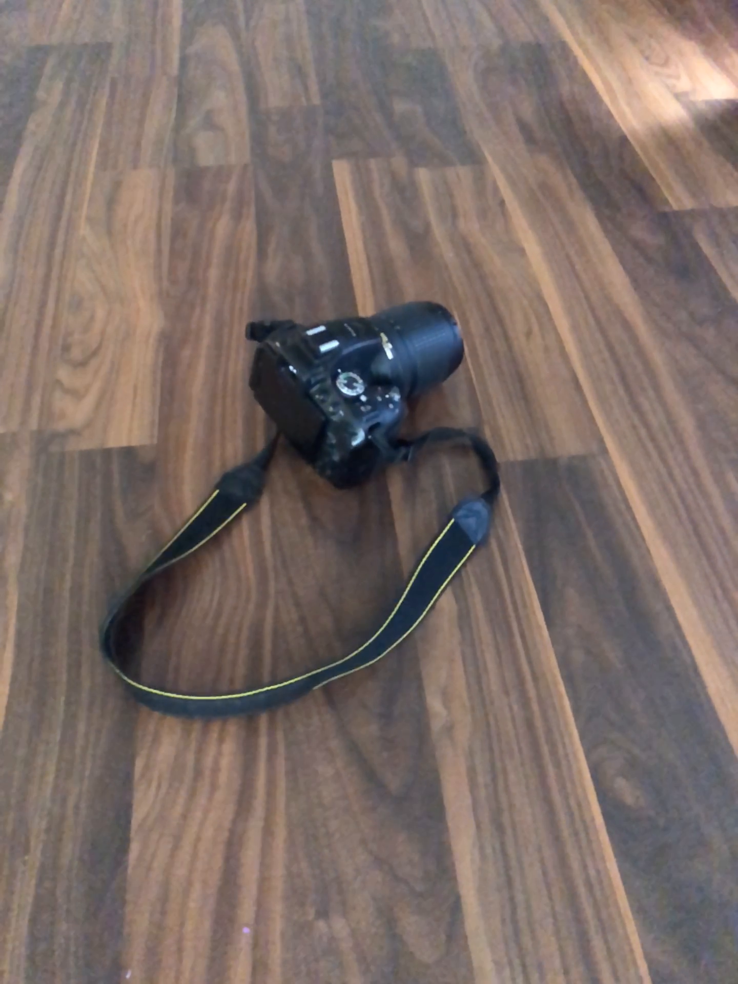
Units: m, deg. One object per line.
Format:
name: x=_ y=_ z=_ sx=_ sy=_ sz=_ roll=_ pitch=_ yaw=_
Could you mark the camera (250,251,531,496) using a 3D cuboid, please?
camera: x=0.016 y=-0.094 z=0.599 sx=0.160 sy=0.070 sz=0.120 roll=-33 pitch=56 yaw=-25
